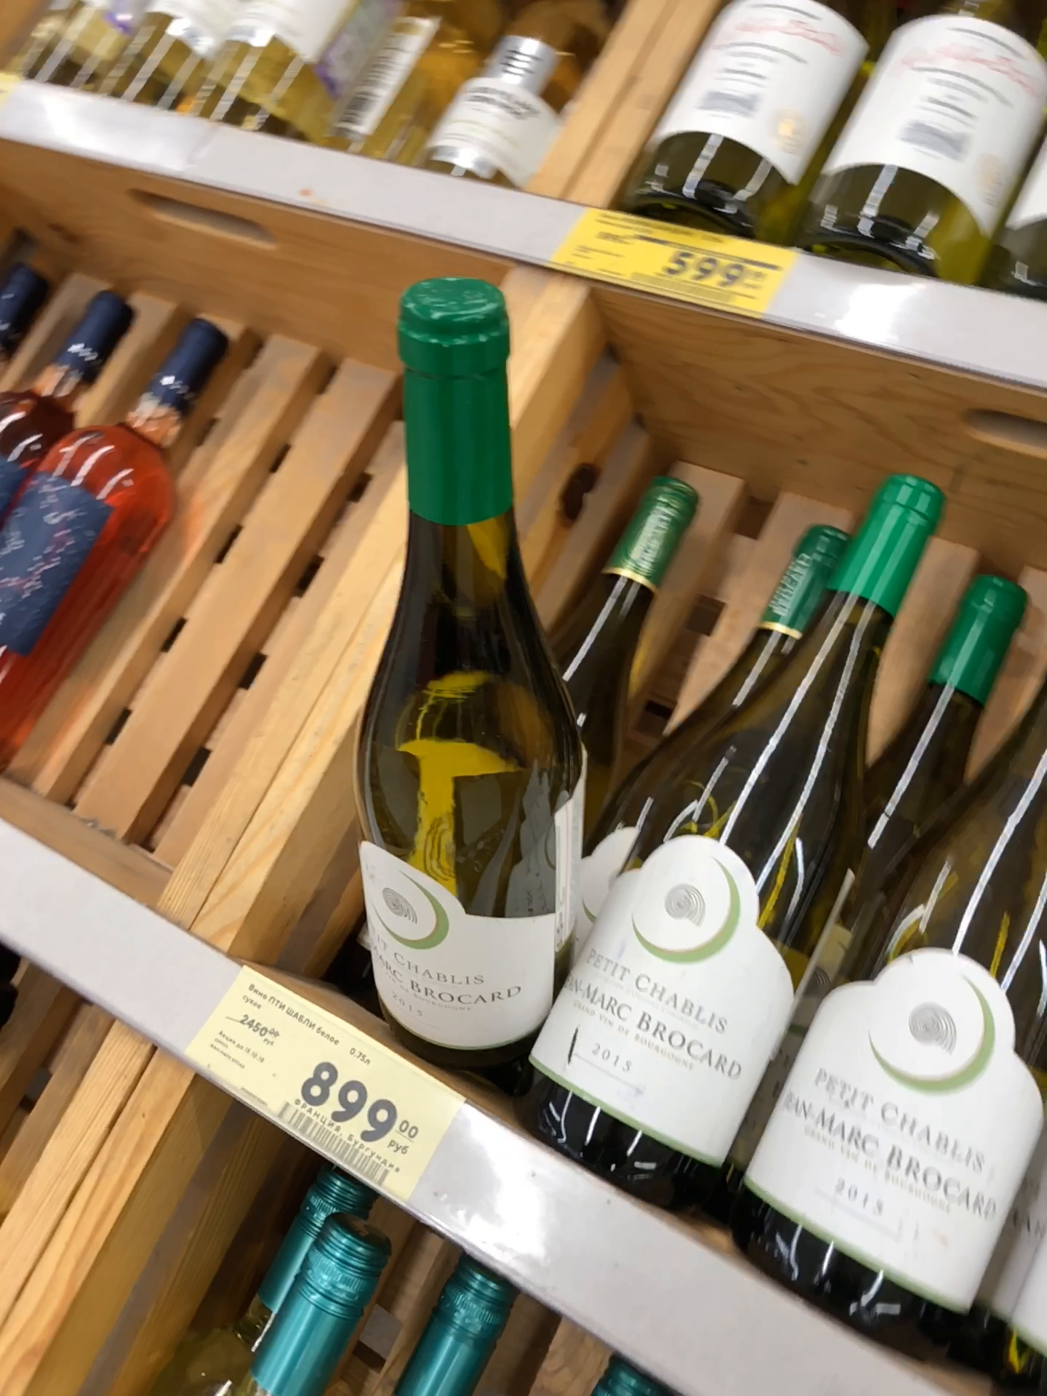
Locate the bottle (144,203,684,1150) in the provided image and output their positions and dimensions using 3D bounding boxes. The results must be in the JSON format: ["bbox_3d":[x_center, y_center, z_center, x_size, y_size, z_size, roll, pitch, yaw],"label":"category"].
[{"bbox_3d":[-0.025,0.013,0.368,0.090,0.288,0.090,0,42,0],"label":"bottle"}]
